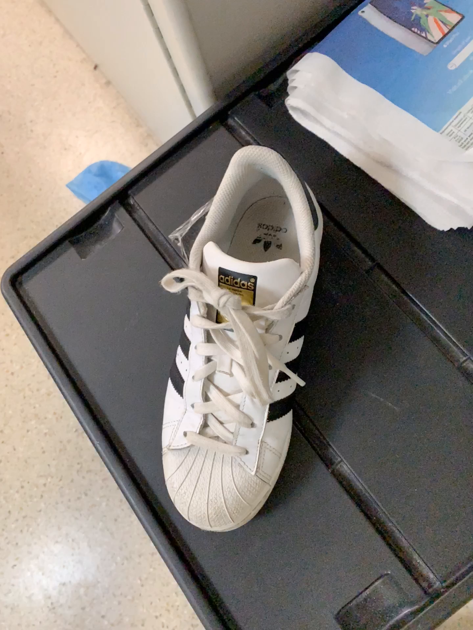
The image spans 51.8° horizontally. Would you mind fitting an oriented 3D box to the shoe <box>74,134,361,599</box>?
[{"bbox_3d":[-0.001,0.024,0.319,0.104,0.092,0.242,14,85,14],"label":"shoe"}]
